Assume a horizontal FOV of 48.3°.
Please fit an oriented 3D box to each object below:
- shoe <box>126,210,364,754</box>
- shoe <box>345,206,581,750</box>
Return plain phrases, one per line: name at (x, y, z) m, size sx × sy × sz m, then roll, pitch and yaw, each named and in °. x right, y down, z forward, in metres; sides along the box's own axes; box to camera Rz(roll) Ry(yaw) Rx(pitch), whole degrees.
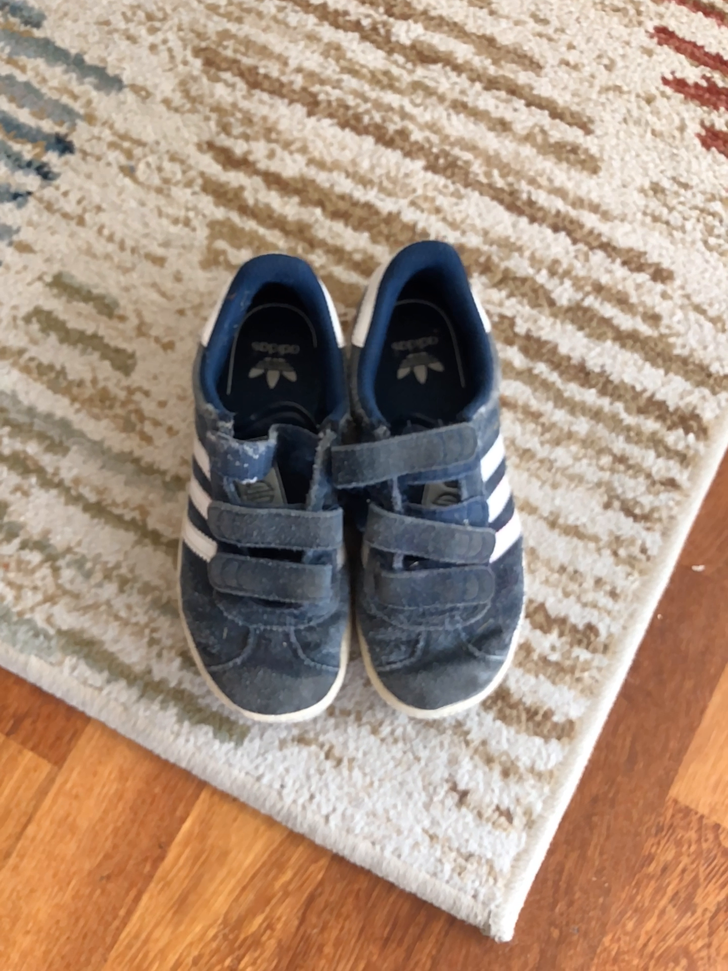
shoe at (-0.044, -0.003, 0.345) m, size 0.084 × 0.053 × 0.216 m, roll 1°, pitch 79°, yaw -1°
shoe at (0.036, -0.005, 0.347) m, size 0.086 × 0.052 × 0.219 m, roll -1°, pitch 79°, yaw -1°
